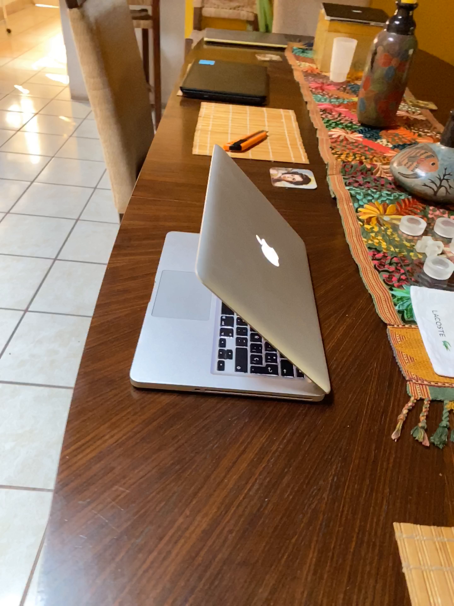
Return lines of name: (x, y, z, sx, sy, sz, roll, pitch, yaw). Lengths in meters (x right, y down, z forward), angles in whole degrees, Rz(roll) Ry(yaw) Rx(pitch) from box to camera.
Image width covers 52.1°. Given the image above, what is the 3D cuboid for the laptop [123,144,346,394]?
laptop: (0.003, -0.064, 0.613, 0.212, 0.152, 0.323, 4, 40, -2)
